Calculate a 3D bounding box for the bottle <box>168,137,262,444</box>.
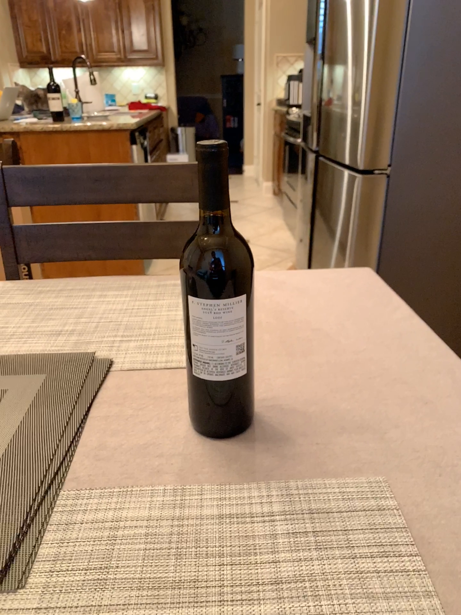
[{"bbox_3d":[-0.012,-0.009,0.504,0.080,0.314,0.080,-1,24,0],"label":"bottle"}]
